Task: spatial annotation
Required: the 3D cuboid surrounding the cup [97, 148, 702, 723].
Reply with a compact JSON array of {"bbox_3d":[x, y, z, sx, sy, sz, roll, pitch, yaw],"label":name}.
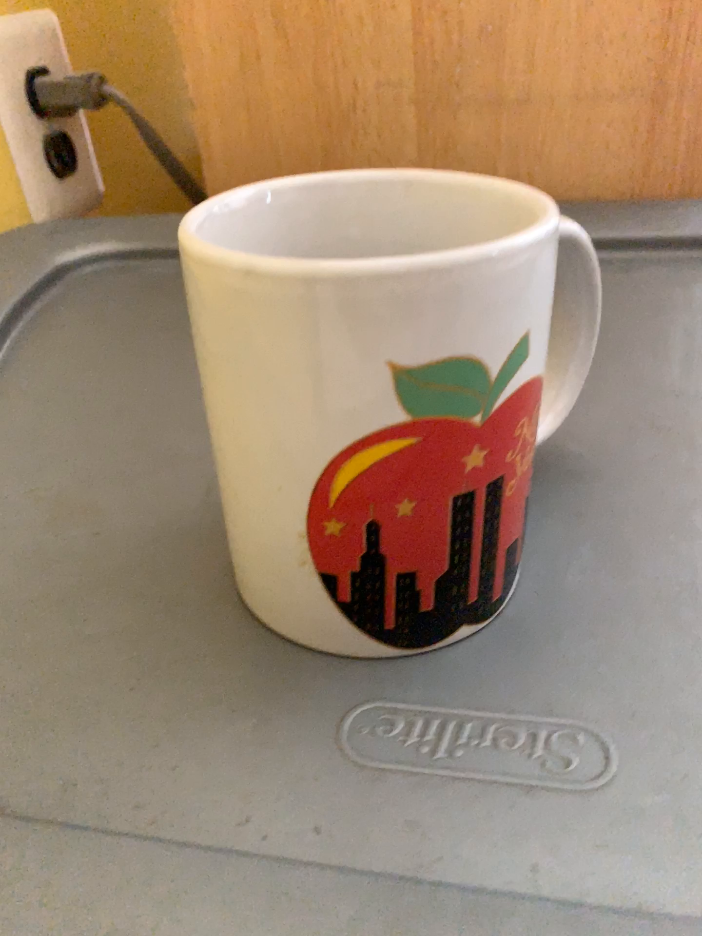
[{"bbox_3d":[0.014,-0.024,0.201,0.118,0.095,0.097,-22,37,-28],"label":"cup"}]
